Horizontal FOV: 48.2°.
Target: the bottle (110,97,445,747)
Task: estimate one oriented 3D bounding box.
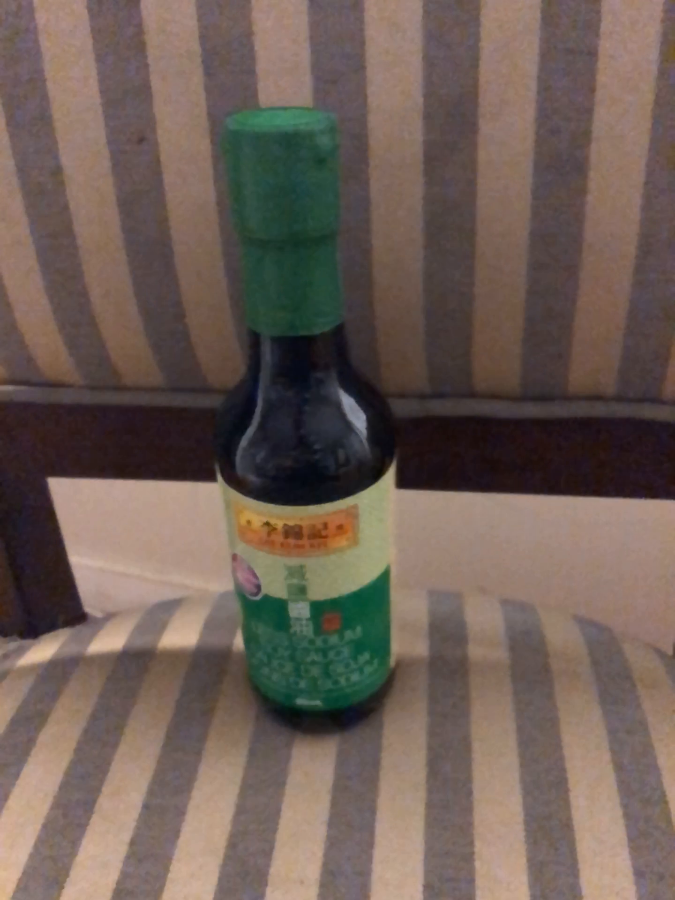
[{"bbox_3d":[-0.007,0.003,0.275,0.080,0.228,0.070,3,34,9],"label":"bottle"}]
